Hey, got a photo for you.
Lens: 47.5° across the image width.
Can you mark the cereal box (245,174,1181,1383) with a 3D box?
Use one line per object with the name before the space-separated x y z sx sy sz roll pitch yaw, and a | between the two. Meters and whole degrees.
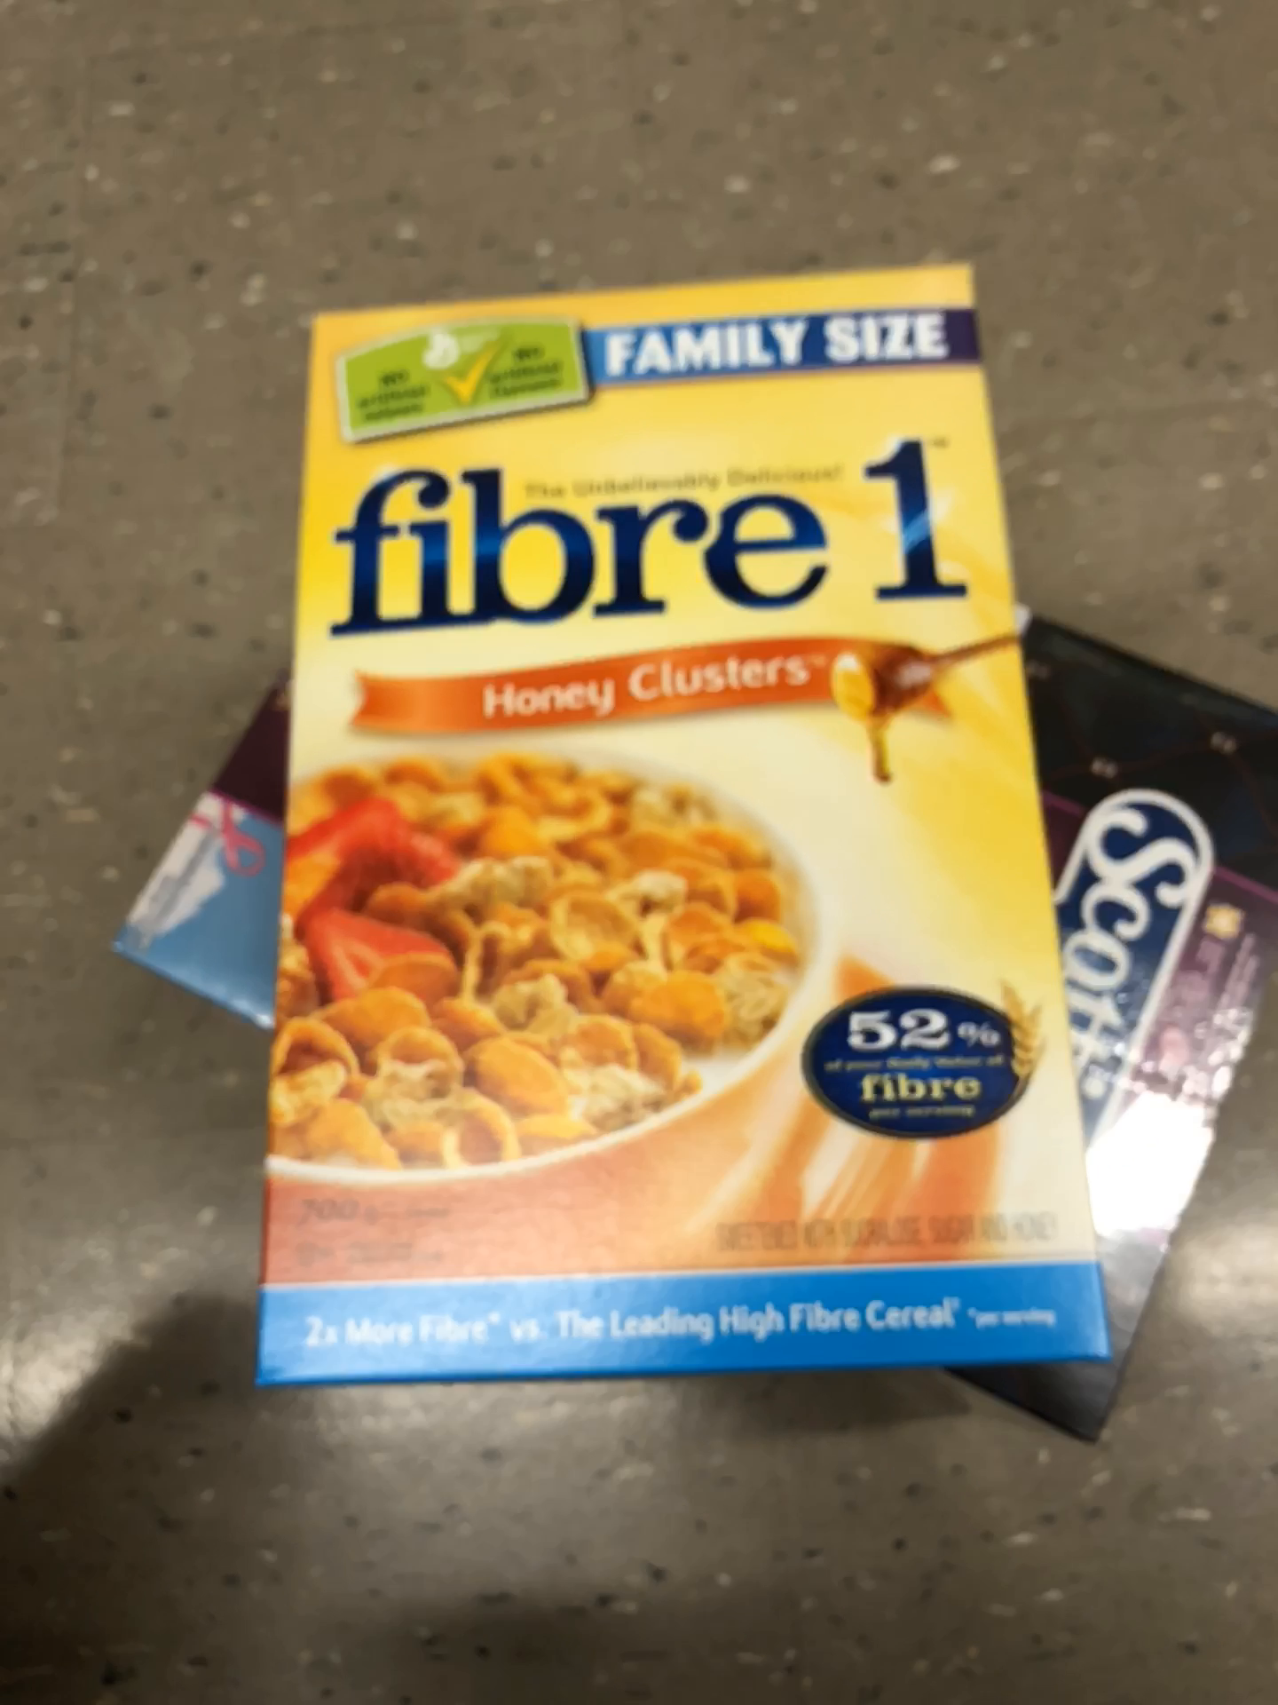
cereal box | 0.011 -0.027 0.405 0.200 0.080 0.320 -3 69 3
